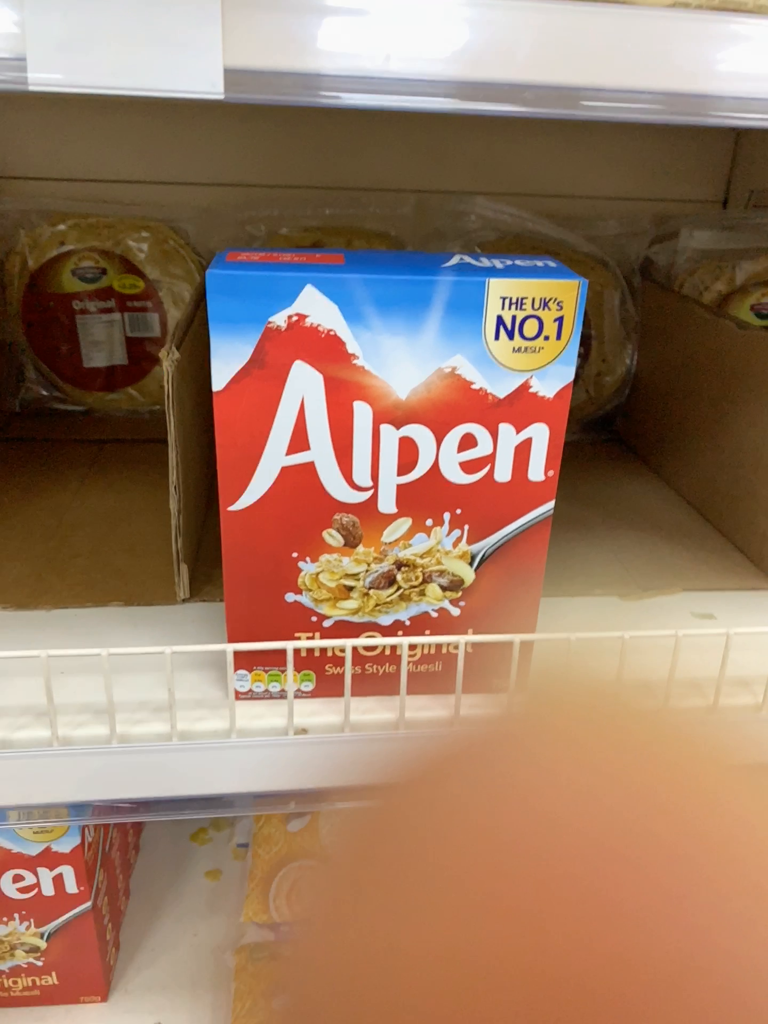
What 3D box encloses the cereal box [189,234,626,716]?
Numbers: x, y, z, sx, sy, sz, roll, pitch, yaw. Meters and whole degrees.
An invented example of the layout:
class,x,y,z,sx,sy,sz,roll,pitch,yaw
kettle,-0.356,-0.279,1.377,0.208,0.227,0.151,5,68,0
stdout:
class,x,y,z,sx,sy,sz,roll,pitch,yaw
cereal box,0.005,-0.016,0.421,0.190,0.238,0.071,-1,24,-7
